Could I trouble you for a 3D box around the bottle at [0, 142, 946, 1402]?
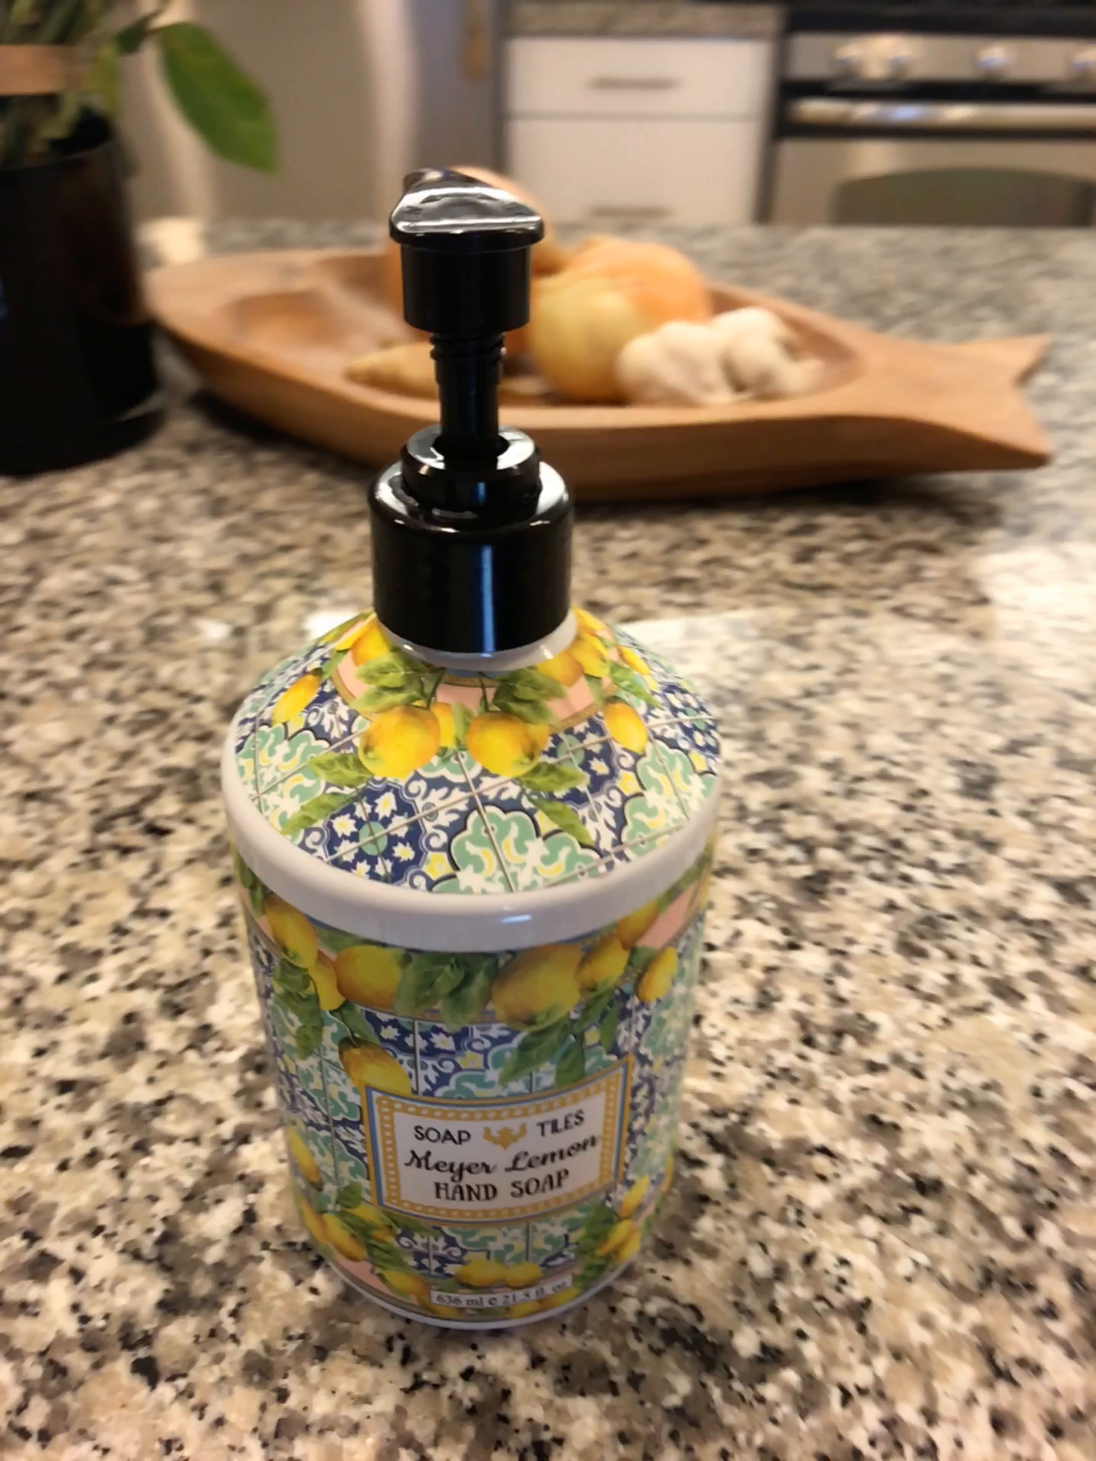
[{"bbox_3d":[-0.012,0.017,0.208,0.090,0.199,0.091,1,36,-1],"label":"bottle"}]
